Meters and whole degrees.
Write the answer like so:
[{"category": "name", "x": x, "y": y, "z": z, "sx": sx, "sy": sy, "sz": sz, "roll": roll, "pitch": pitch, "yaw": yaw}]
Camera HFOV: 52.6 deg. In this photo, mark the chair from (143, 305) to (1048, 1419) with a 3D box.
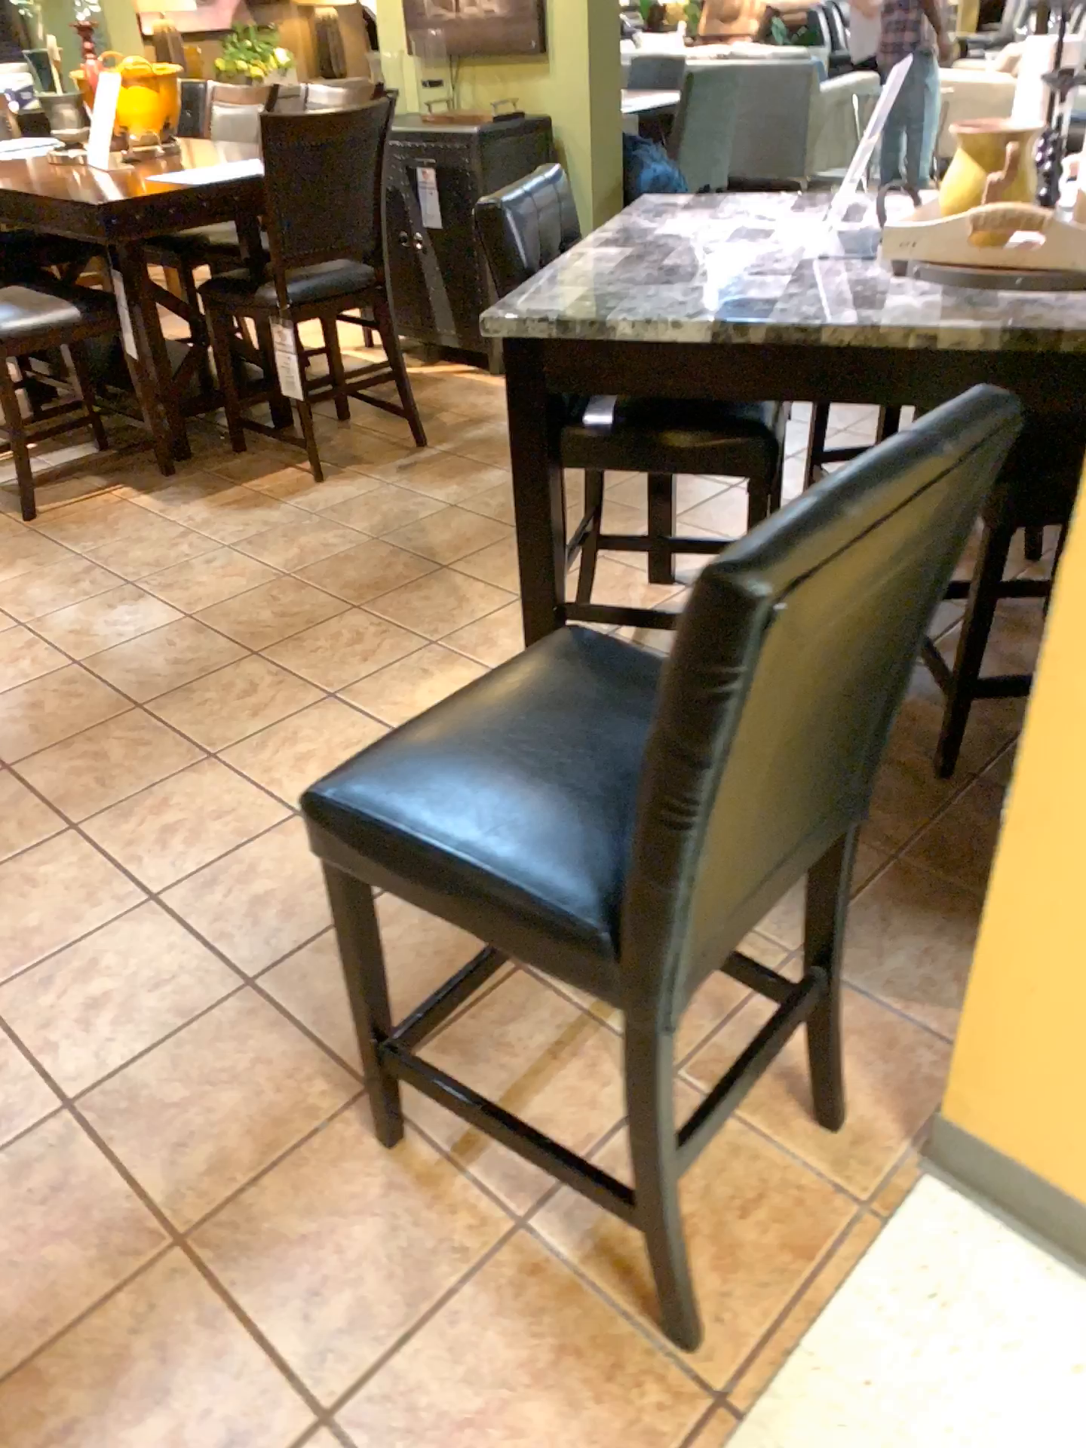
[{"category": "chair", "x": 0.065, "y": 0.121, "z": 1.229, "sx": 0.620, "sy": 0.961, "sz": 0.500, "roll": 23, "pitch": 42, "yaw": 34}]
